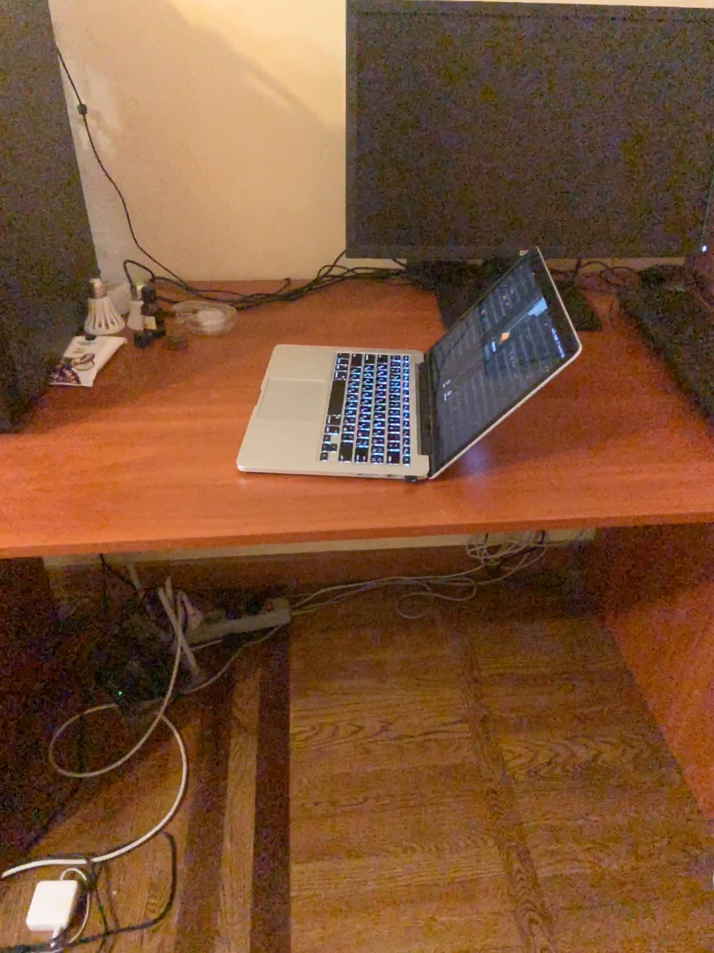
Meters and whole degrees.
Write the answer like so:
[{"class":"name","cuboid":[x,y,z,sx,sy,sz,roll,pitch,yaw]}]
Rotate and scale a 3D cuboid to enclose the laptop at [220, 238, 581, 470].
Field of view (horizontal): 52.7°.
[{"class":"laptop","cuboid":[0.046,-0.151,0.819,0.333,0.139,0.287,1,37,2]}]
